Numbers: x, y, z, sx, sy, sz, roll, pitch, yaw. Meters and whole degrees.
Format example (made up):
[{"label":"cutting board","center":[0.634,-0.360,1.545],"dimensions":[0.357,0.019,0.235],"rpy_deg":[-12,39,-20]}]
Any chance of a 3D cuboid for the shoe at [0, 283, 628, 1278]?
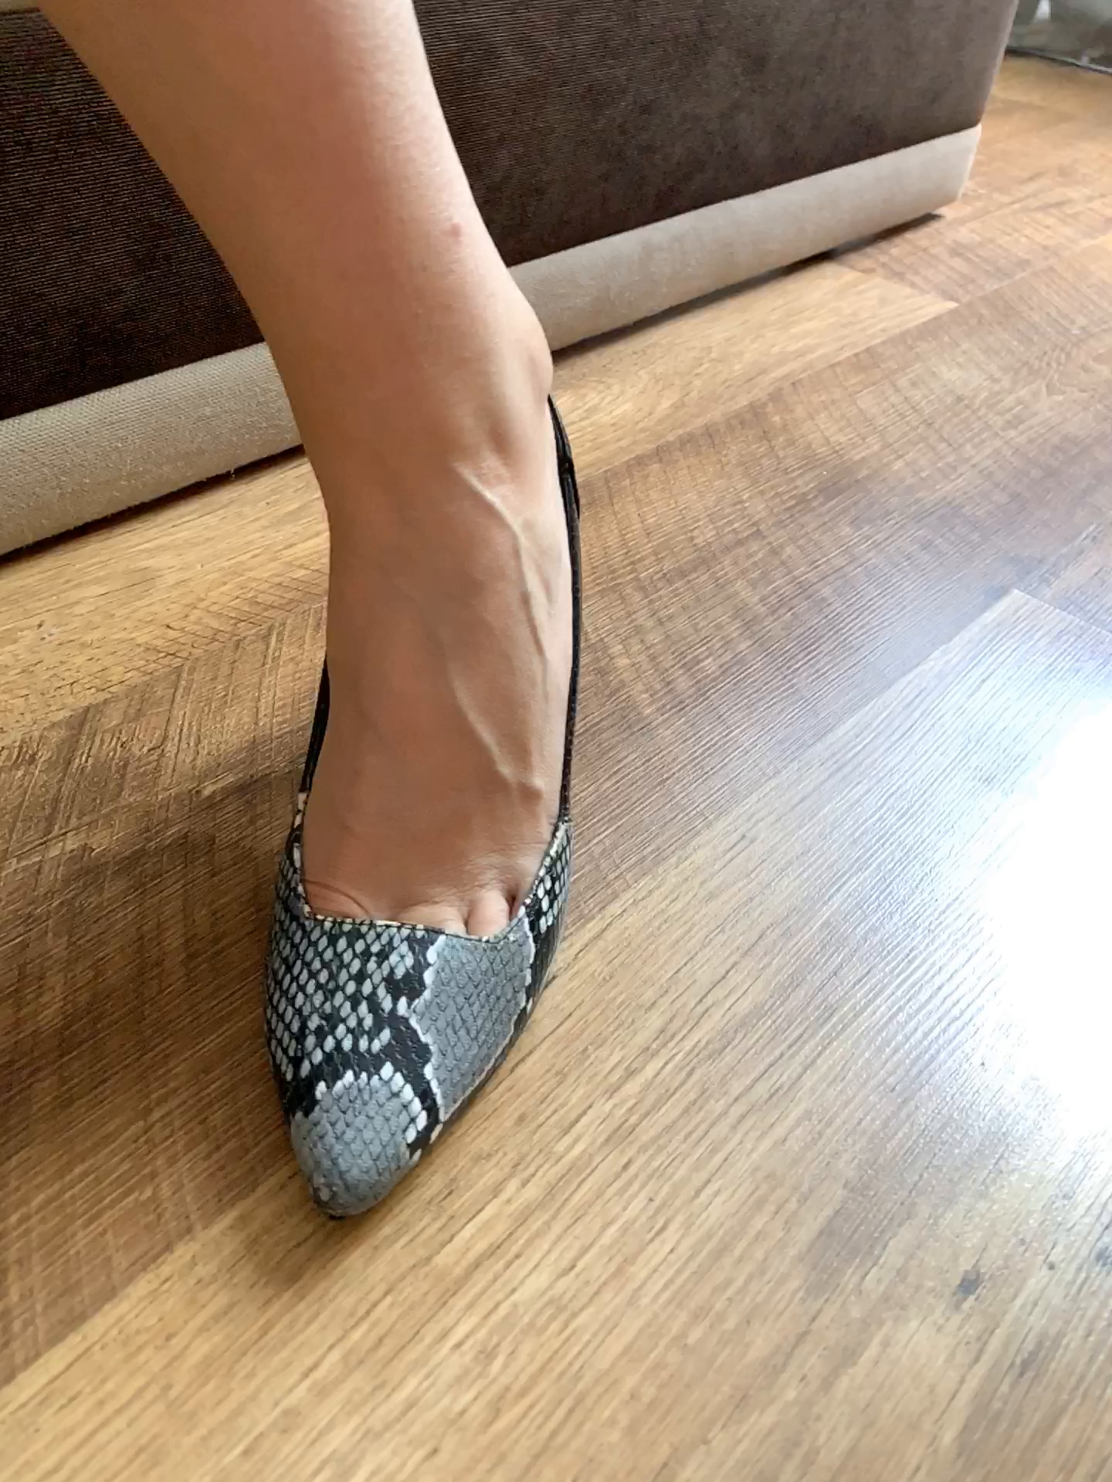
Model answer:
[{"label":"shoe","center":[-0.033,-0.016,0.296],"dimensions":[0.090,0.109,0.251],"rpy_deg":[5,41,1]}]
